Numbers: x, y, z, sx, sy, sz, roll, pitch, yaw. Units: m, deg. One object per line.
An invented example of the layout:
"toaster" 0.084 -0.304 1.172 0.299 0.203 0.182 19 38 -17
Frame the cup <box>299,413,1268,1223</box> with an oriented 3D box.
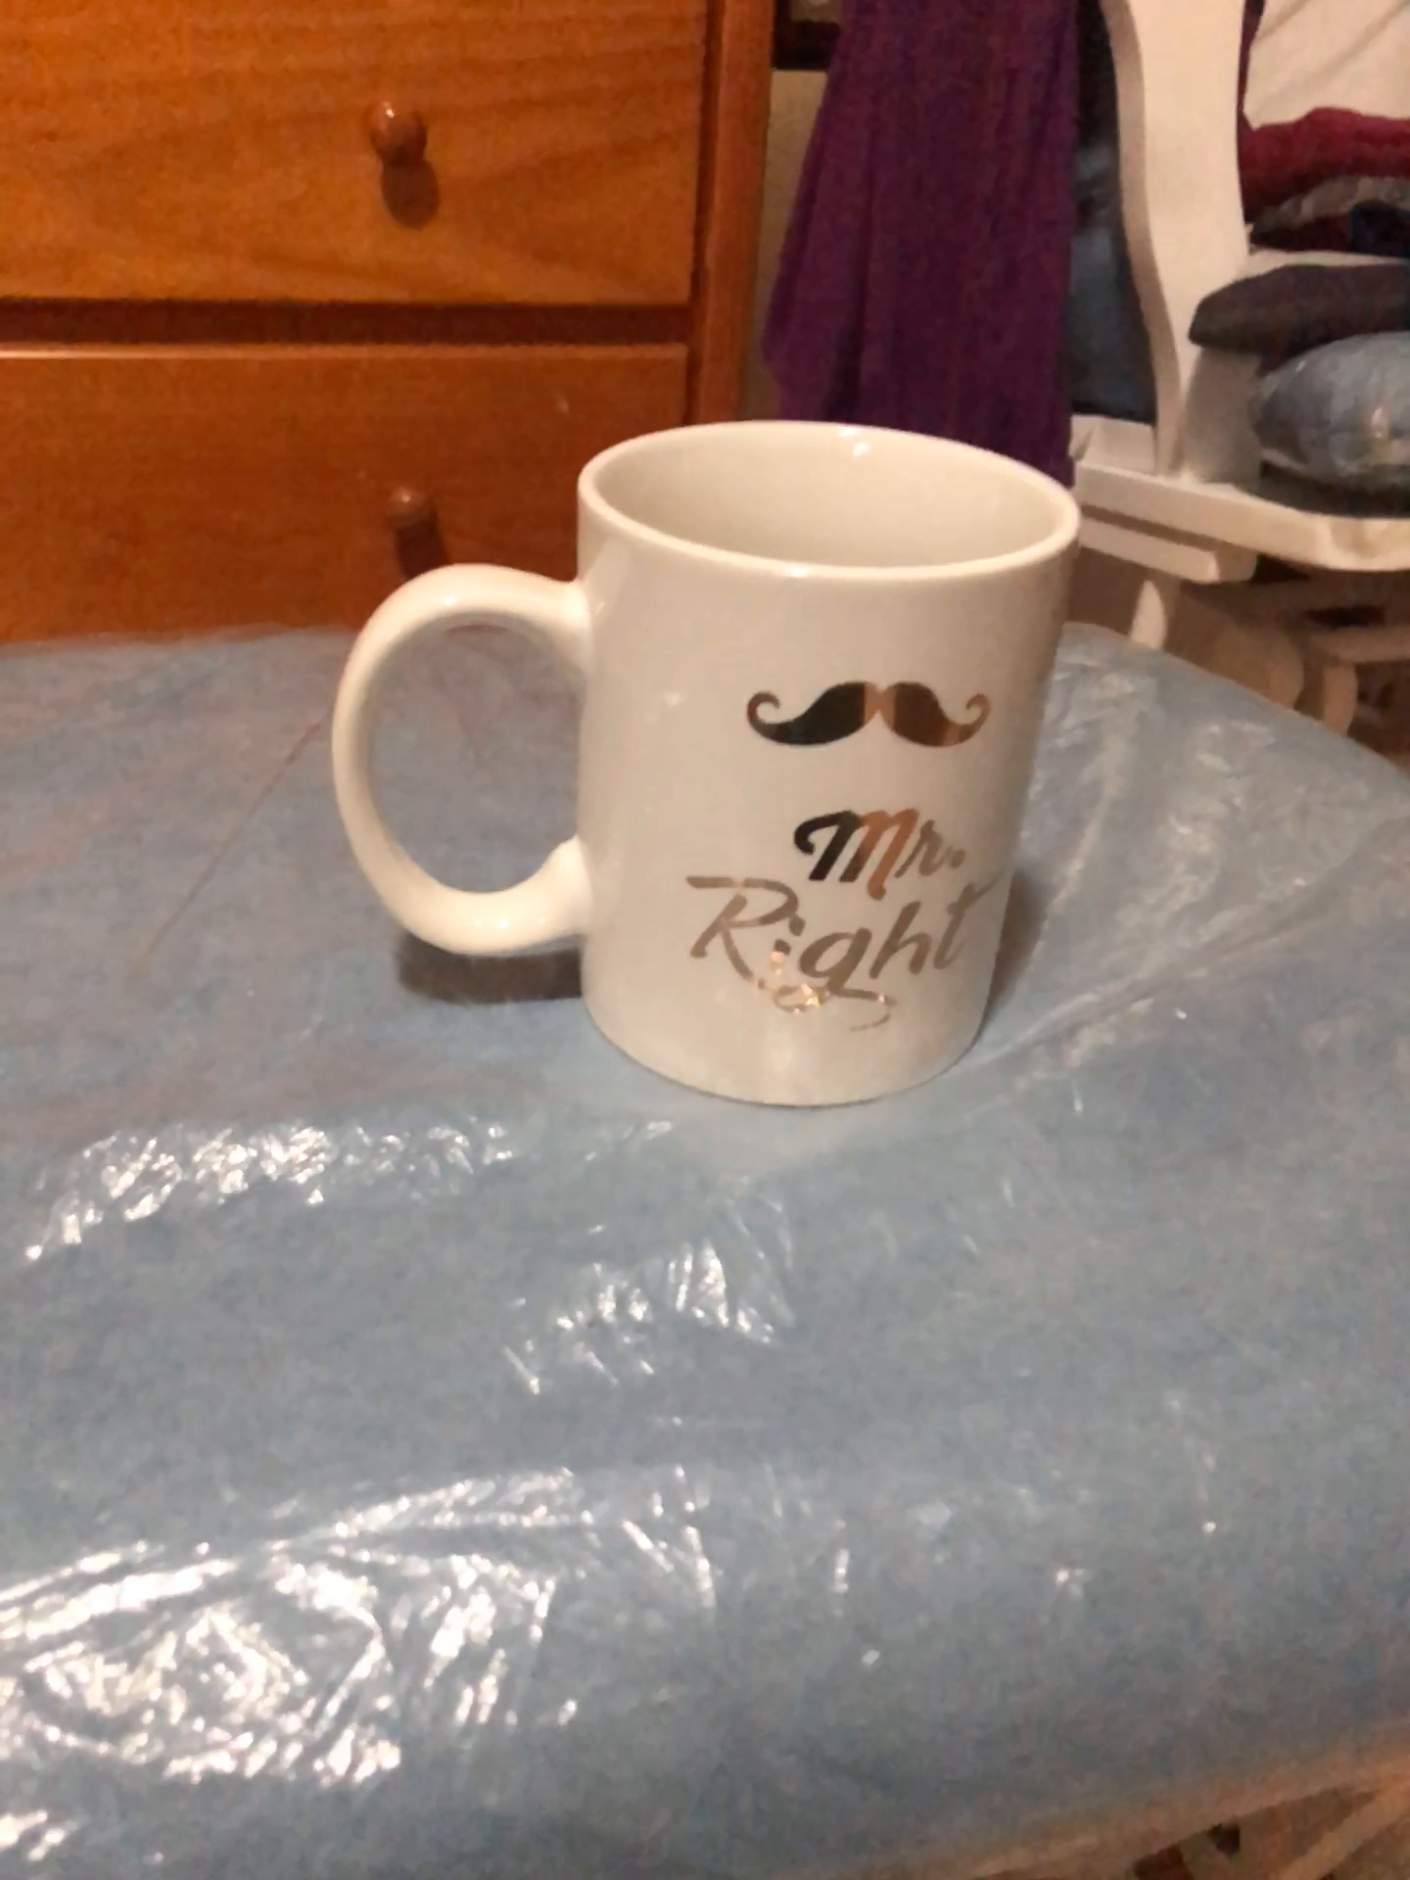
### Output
"cup" 0.003 -0.029 0.287 0.140 0.110 0.100 -3 31 -11
